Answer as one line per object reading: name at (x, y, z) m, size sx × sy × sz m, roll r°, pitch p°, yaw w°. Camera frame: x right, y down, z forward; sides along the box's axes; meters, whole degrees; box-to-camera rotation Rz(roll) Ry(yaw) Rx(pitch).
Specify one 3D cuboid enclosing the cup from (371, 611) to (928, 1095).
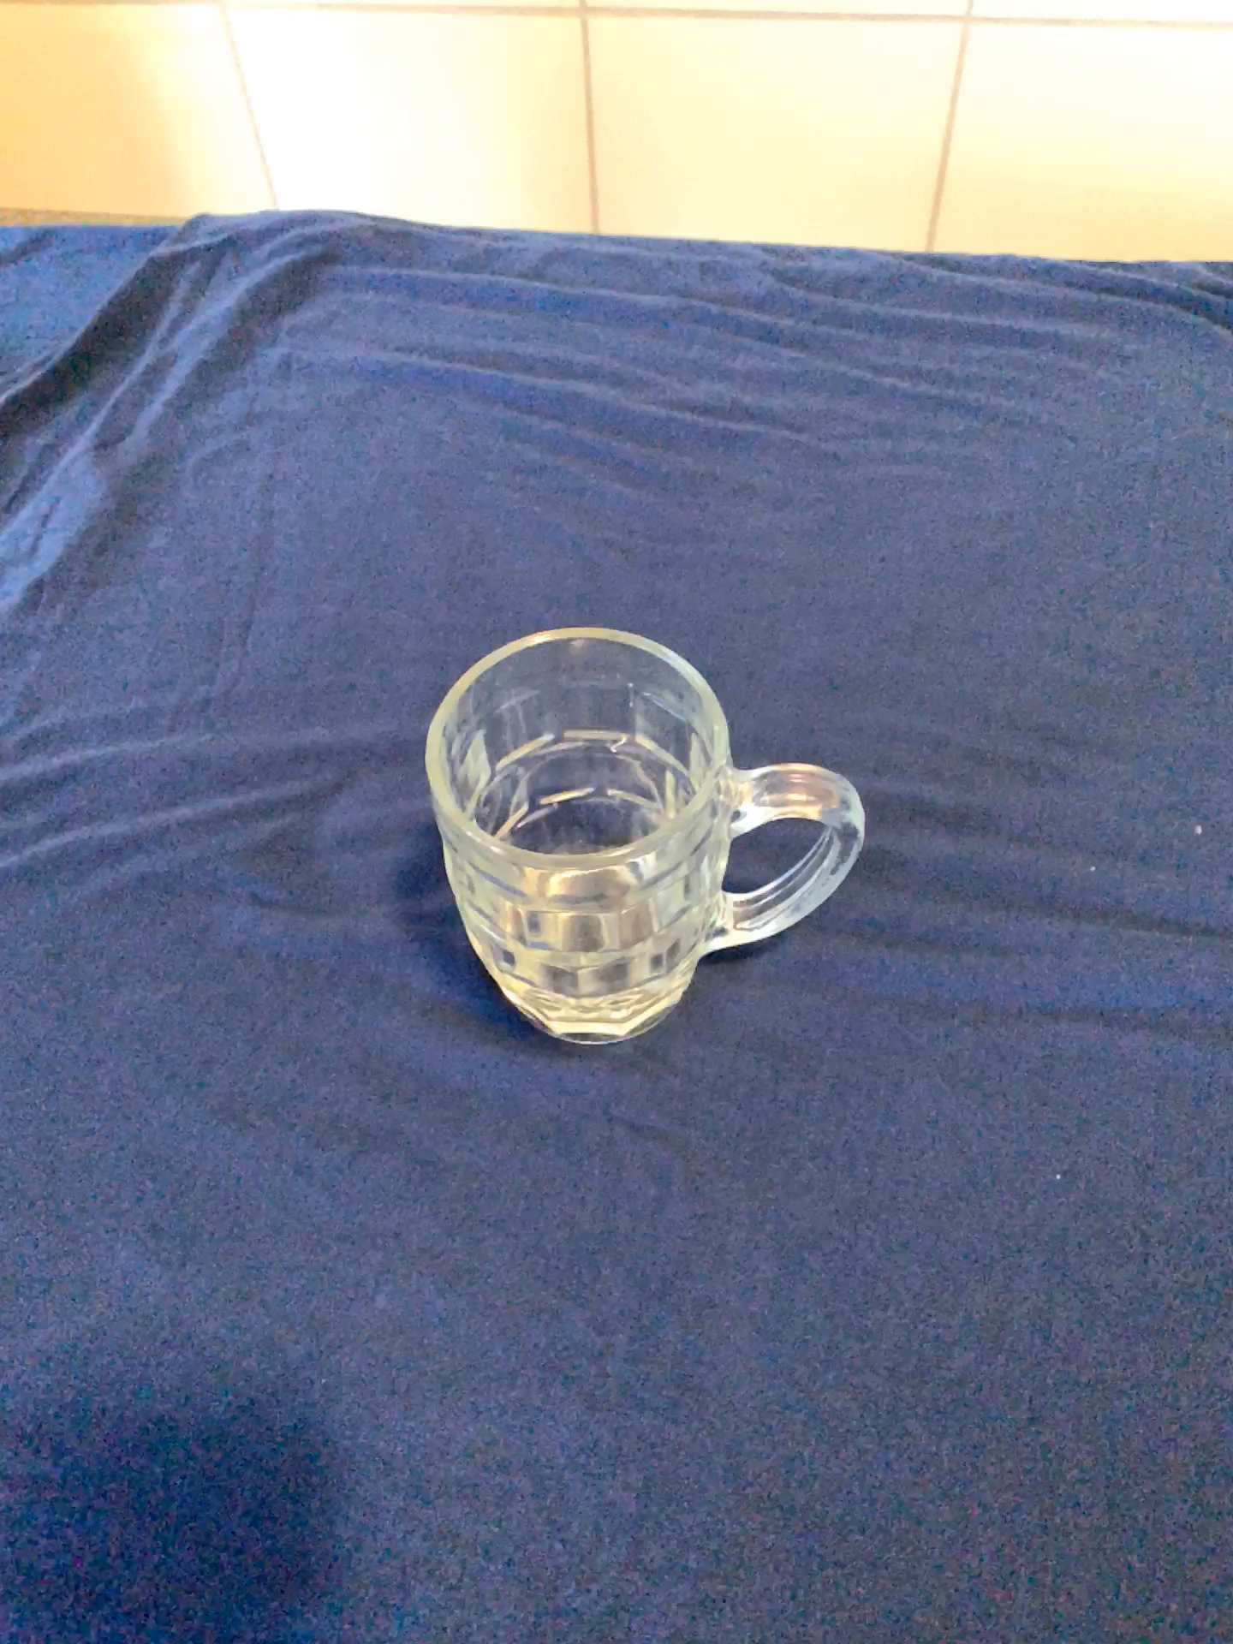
cup at (0.009, 0.013, 0.341) m, size 0.120 × 0.110 × 0.080 m, roll -1°, pitch 54°, yaw 2°
